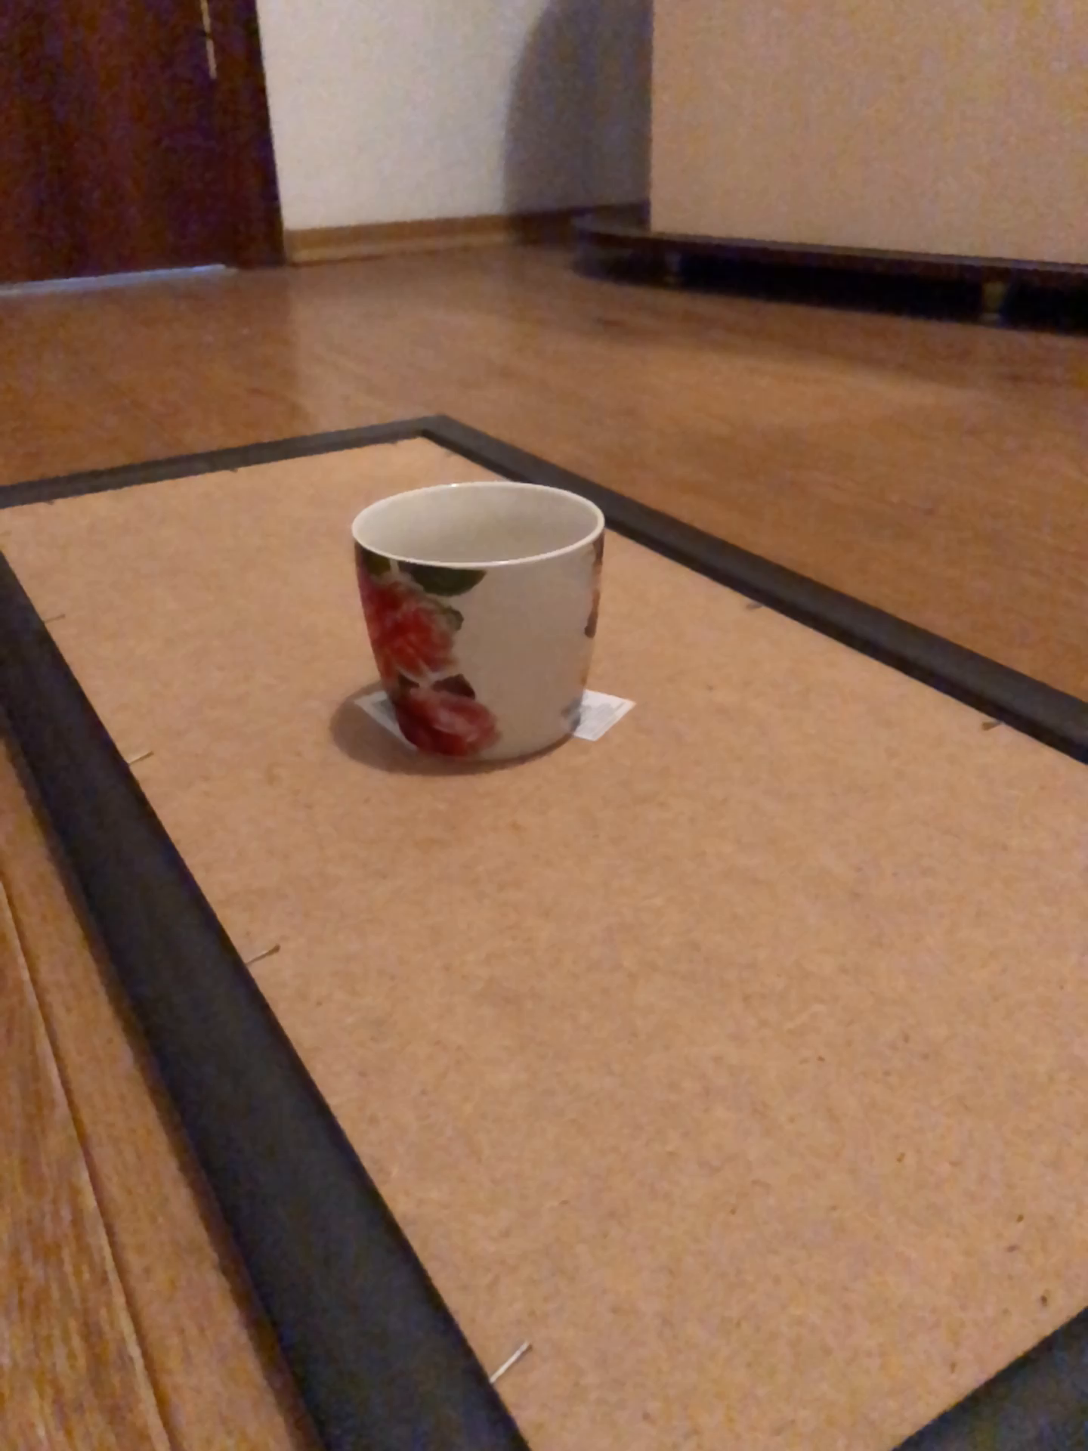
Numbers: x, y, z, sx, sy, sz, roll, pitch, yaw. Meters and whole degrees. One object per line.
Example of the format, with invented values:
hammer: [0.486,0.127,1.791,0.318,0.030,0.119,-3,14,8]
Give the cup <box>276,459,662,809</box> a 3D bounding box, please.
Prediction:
cup: [-0.031,-0.043,0.466,0.098,0.079,0.122,-17,32,-28]
